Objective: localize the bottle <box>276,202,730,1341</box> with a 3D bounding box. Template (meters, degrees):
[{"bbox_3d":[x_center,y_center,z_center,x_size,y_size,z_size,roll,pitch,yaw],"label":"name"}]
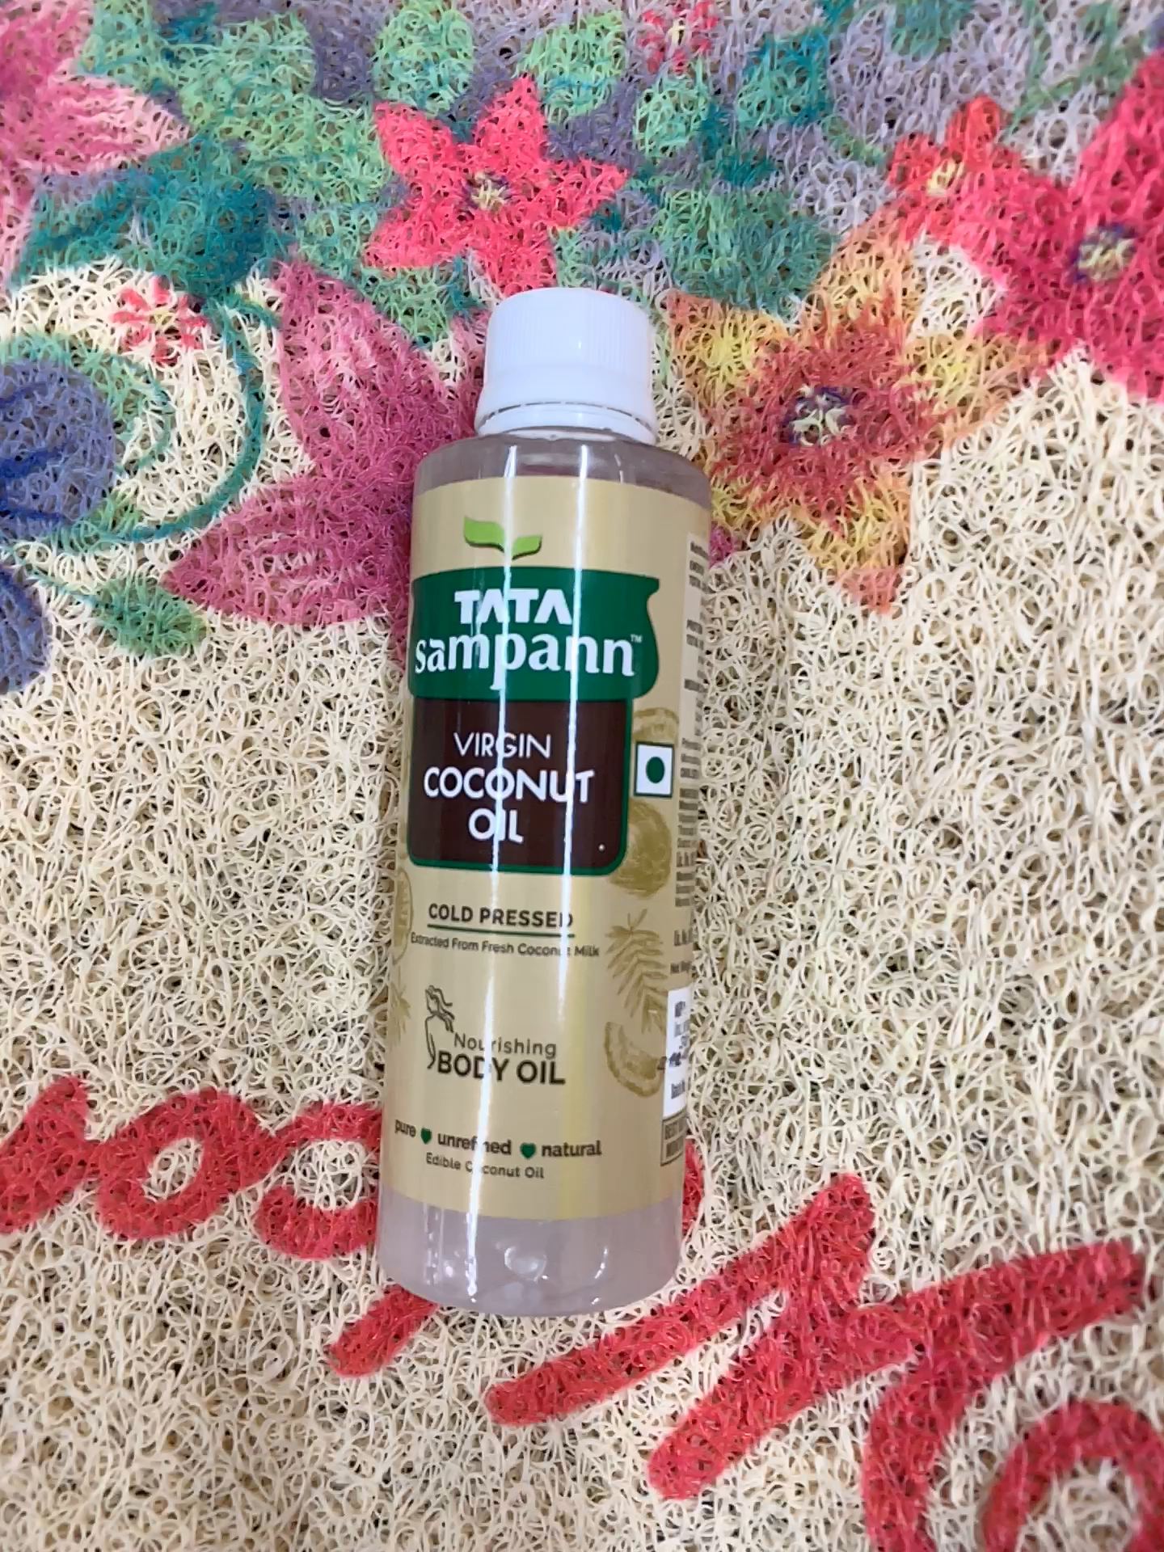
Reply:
[{"bbox_3d":[-0.009,-0.002,0.166,0.050,0.030,0.140,3,89,8],"label":"bottle"}]
